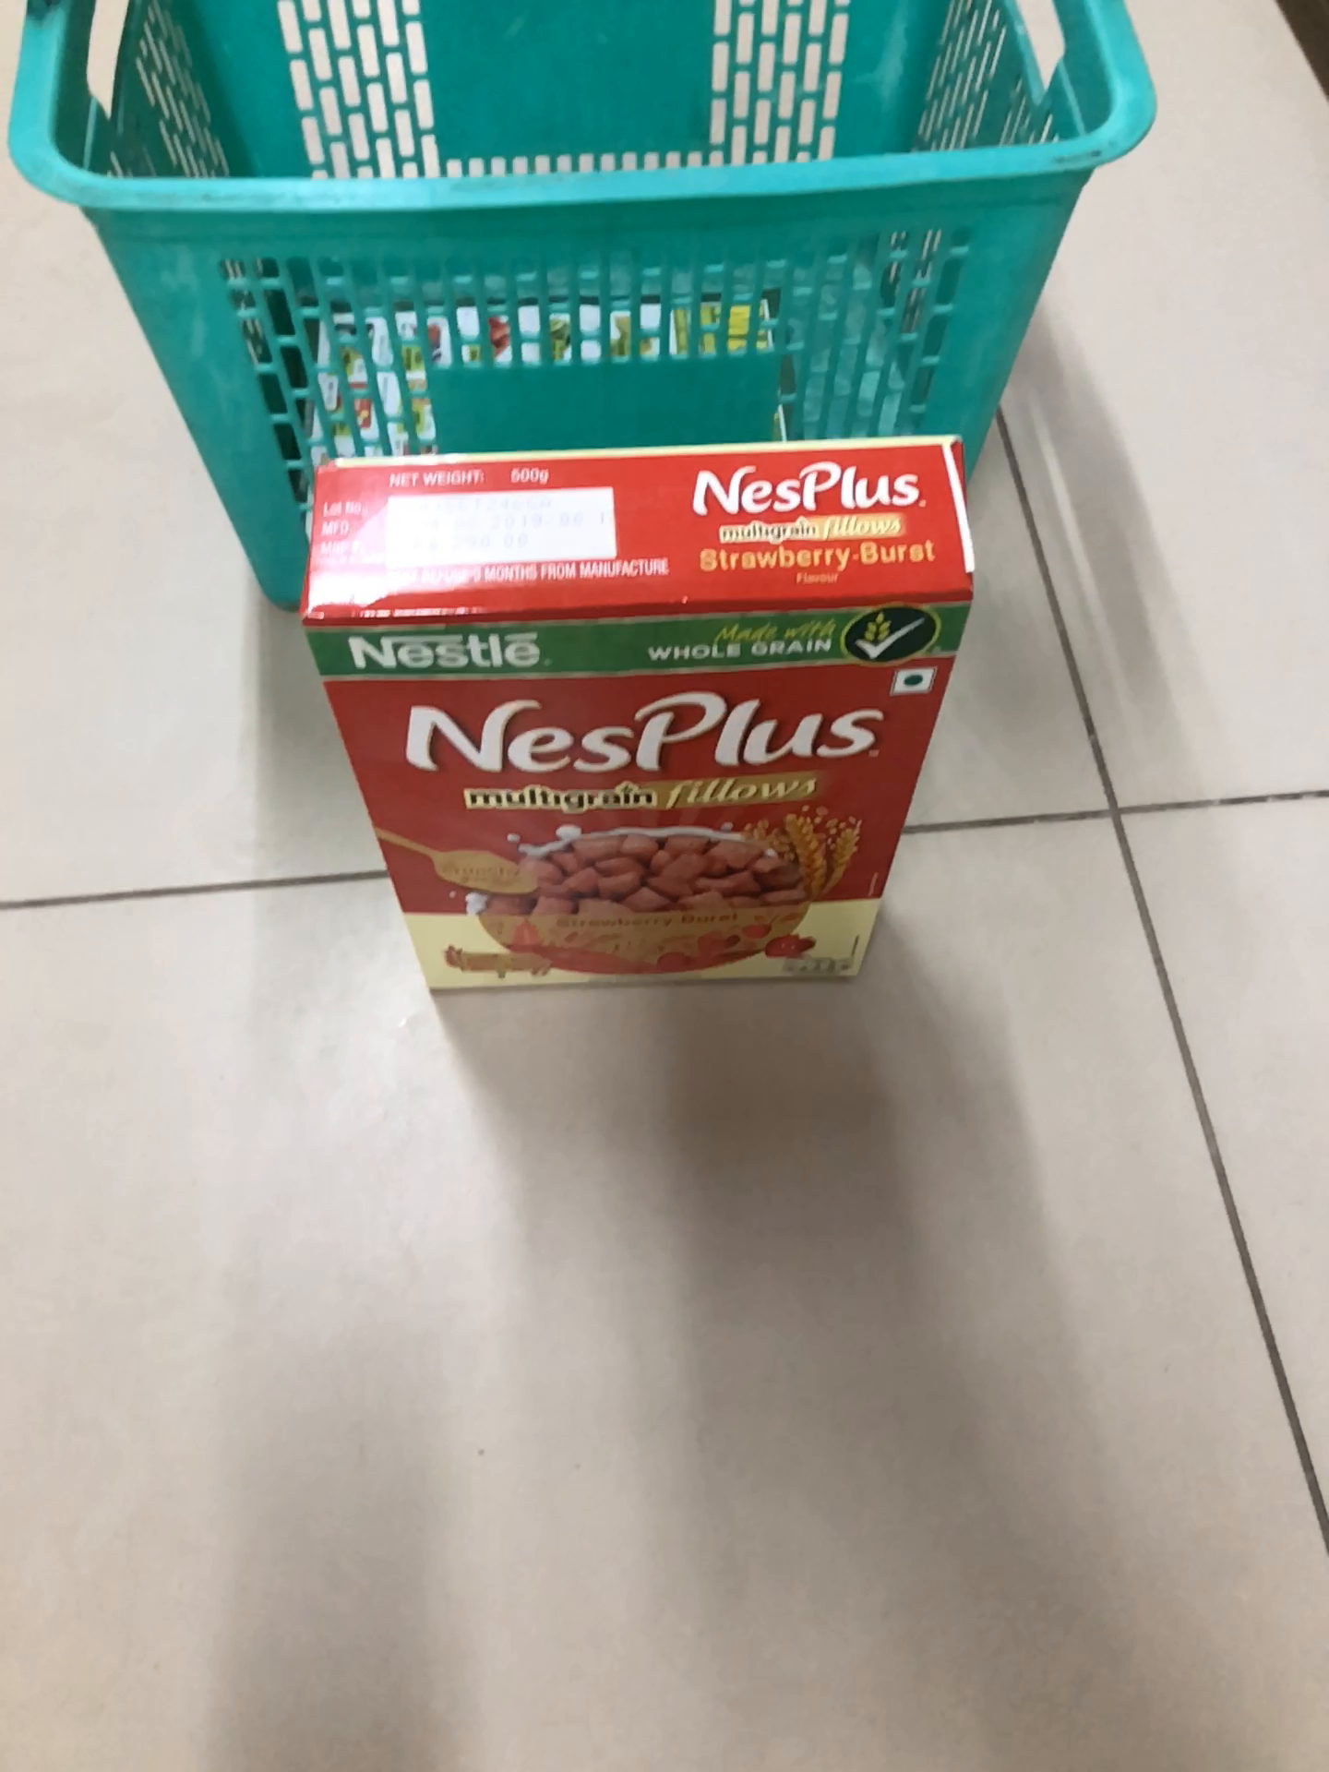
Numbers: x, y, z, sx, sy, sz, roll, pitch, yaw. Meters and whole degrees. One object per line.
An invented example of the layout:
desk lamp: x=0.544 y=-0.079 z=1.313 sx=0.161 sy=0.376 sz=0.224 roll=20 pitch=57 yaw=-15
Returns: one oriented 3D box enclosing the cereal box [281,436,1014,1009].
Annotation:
cereal box: x=-0.007 y=-0.038 z=0.508 sx=0.190 sy=0.259 sz=0.060 roll=-1 pitch=62 yaw=-2
